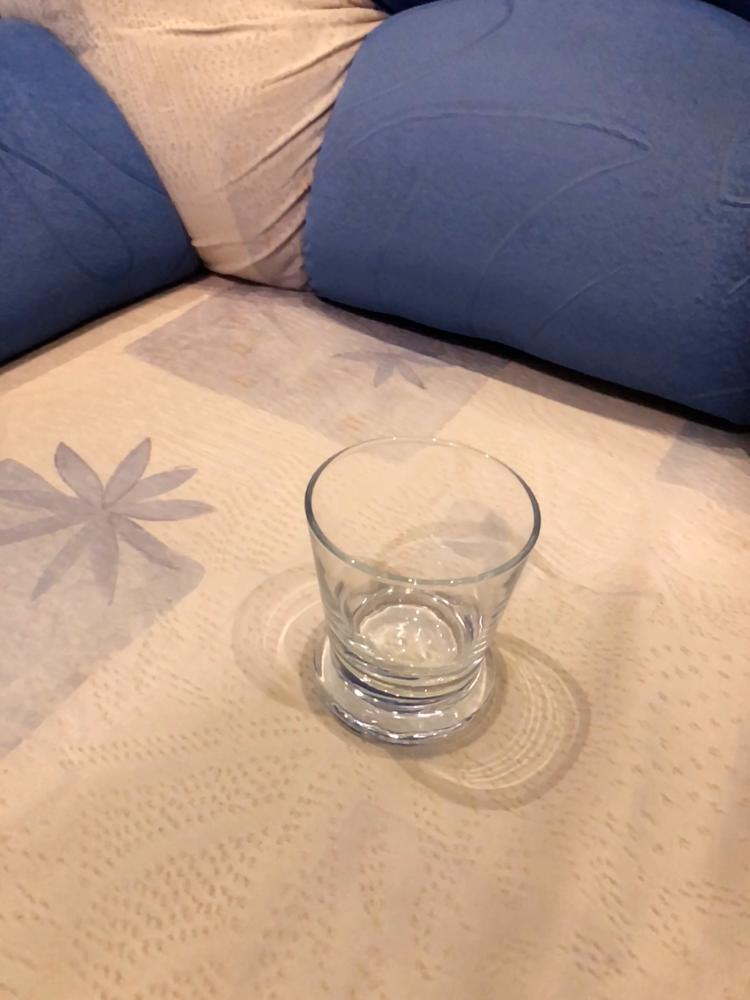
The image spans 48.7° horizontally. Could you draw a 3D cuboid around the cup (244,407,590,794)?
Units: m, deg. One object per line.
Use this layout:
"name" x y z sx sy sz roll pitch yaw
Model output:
"cup" 0.014 0.032 0.311 0.085 0.083 0.087 2 37 -1
